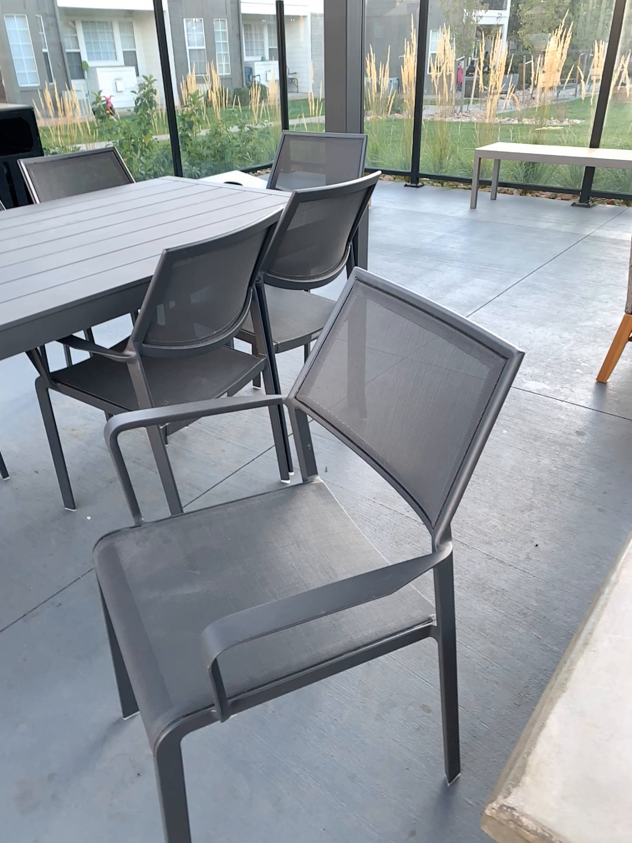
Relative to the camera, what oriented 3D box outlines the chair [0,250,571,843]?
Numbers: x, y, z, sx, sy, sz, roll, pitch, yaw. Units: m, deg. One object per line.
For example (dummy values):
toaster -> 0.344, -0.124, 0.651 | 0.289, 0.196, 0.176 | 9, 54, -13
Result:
chair -> -0.078, 0.229, 1.034 | 0.610, 0.806, 0.512 | -15, 32, -23
